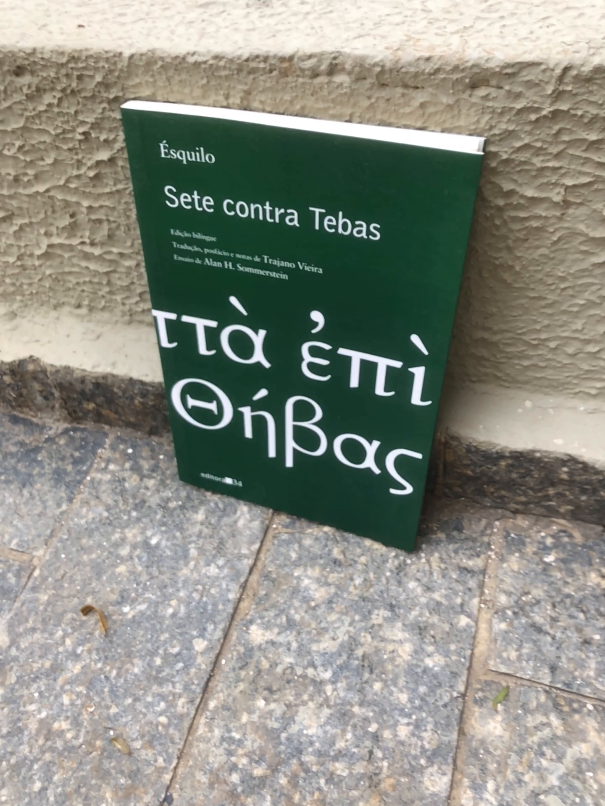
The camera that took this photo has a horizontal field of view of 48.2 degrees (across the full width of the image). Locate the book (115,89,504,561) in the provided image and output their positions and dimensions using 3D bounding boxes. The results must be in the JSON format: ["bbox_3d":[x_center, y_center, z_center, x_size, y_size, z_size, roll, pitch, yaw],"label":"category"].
[{"bbox_3d":[-0.001,-0.024,0.296,0.140,0.195,0.020,14,39,19],"label":"book"}]
